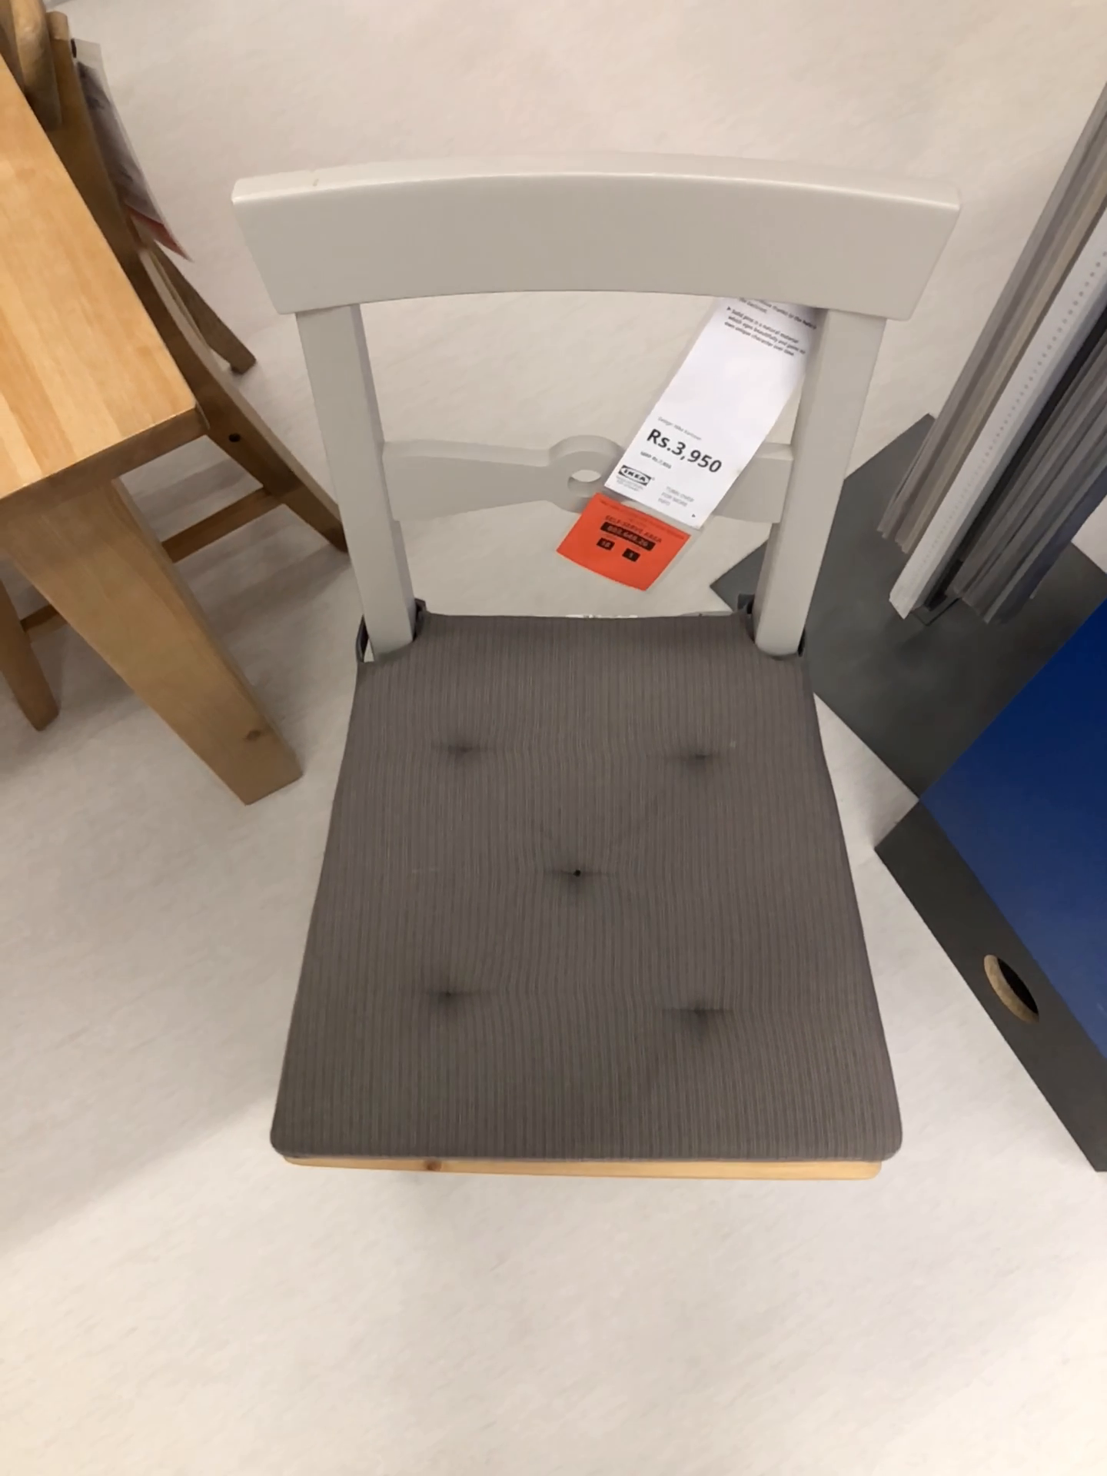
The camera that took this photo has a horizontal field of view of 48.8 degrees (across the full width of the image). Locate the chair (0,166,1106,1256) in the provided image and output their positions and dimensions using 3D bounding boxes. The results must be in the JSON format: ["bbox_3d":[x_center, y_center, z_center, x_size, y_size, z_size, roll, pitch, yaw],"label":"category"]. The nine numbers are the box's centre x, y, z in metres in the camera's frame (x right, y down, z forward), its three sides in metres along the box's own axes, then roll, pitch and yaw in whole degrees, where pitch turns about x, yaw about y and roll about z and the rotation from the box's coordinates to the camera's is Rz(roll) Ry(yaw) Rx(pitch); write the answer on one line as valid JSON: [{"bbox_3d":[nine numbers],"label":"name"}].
[{"bbox_3d":[0.029,0.082,0.855,0.430,0.768,0.471,0,70,1],"label":"chair"}]
